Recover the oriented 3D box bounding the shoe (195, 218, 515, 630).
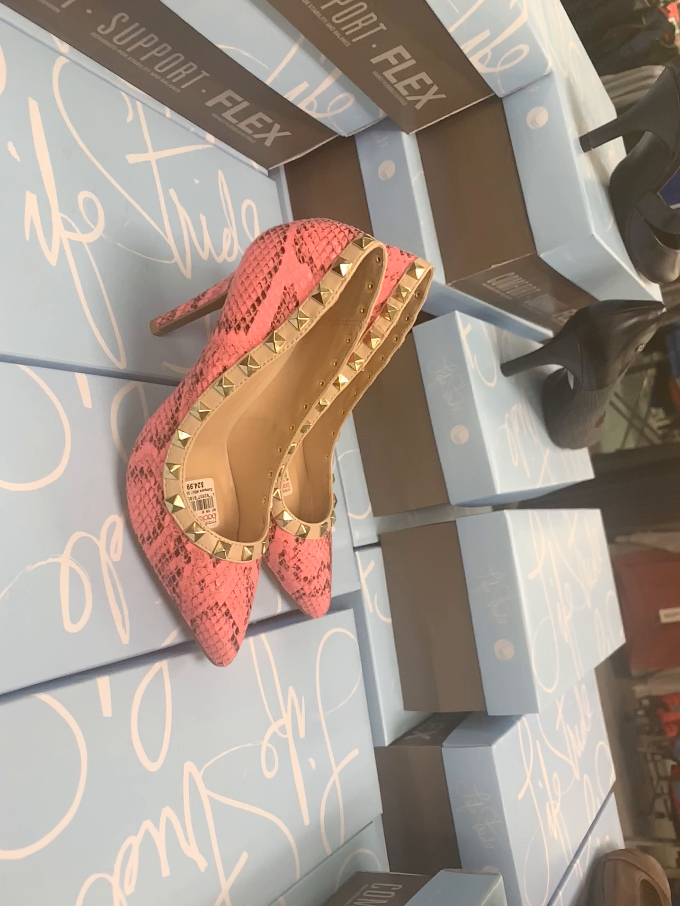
[{"bbox_3d":[0.007,-0.009,0.409,0.082,0.128,0.195,0,77,-59],"label":"shoe"}]

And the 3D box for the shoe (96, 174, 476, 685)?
[{"bbox_3d":[-0.029,-0.003,0.341,0.080,0.128,0.199,0,77,-59],"label":"shoe"}]
